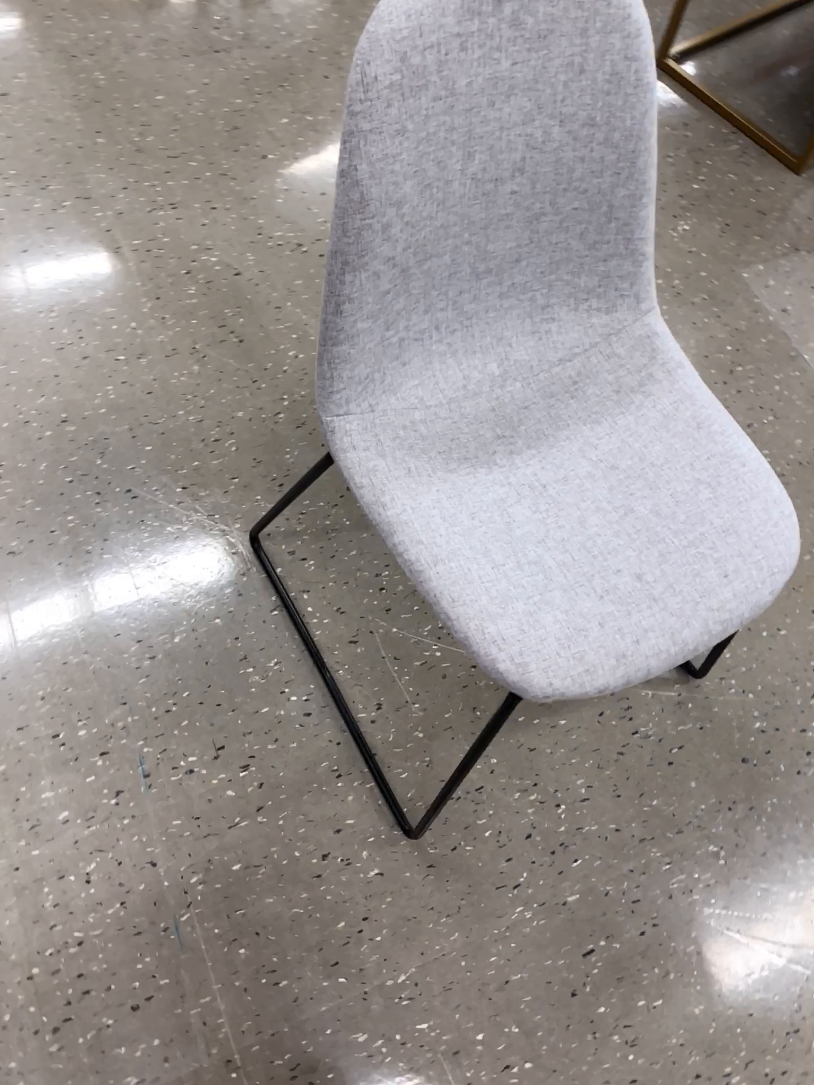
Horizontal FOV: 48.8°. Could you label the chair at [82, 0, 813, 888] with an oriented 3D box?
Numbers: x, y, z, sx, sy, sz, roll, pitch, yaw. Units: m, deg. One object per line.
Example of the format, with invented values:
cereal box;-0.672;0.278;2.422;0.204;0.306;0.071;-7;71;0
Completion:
chair;0.114;-0.099;0.967;0.590;0.779;0.581;-21;65;-17
